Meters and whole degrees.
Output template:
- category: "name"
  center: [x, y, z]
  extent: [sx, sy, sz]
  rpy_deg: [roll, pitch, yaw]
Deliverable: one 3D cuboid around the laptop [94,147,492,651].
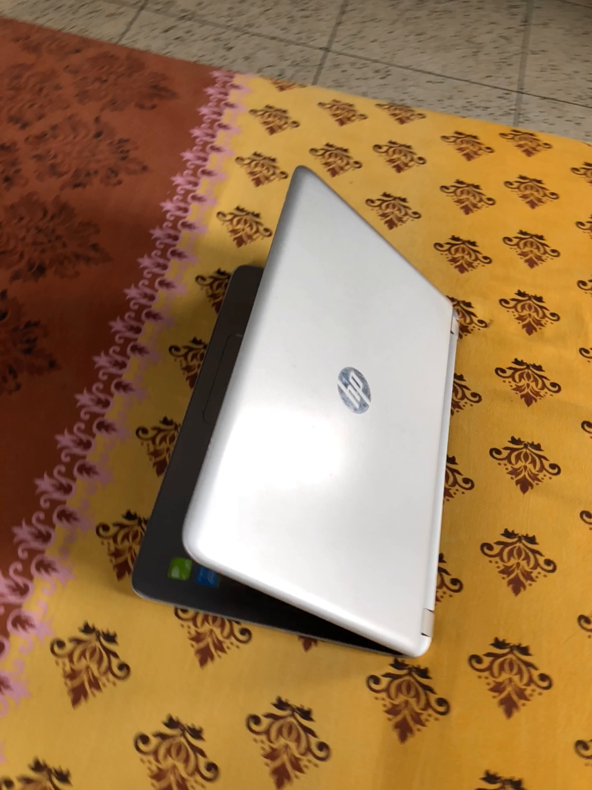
- category: "laptop"
  center: [0.020, -0.009, 0.583]
  extent: [0.248, 0.155, 0.373]
  rpy_deg: [12, 59, 2]
